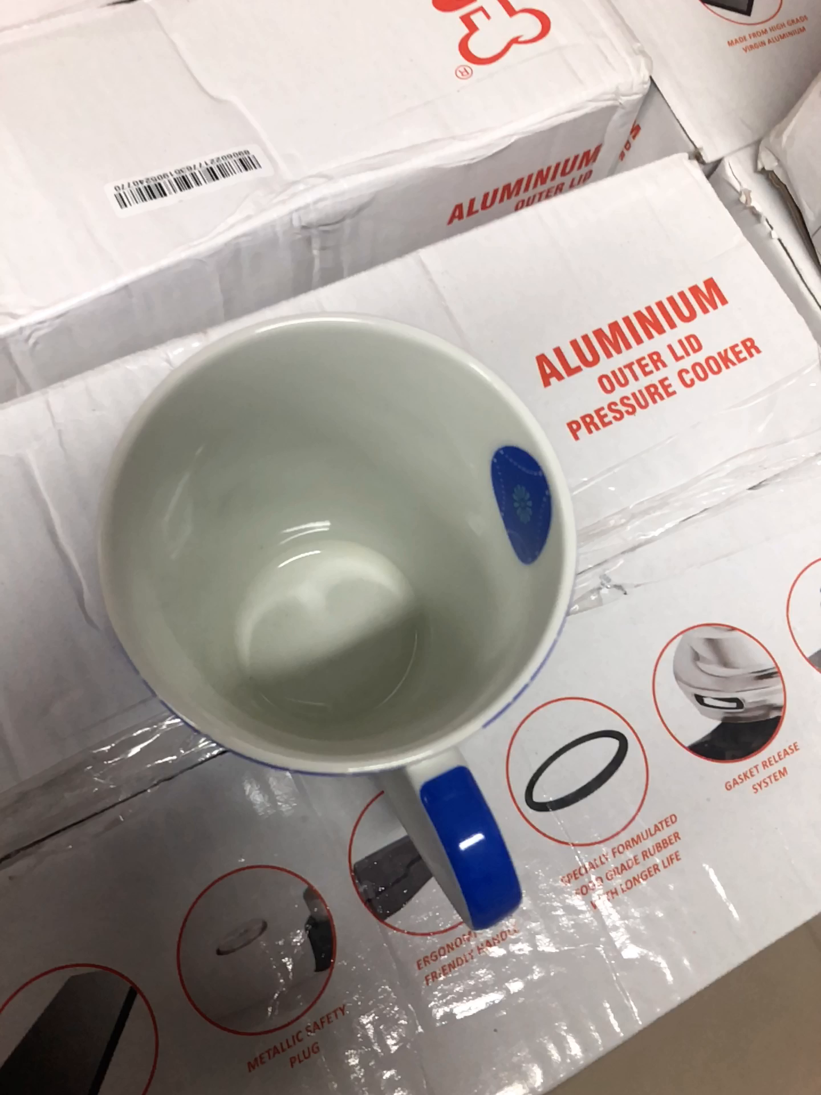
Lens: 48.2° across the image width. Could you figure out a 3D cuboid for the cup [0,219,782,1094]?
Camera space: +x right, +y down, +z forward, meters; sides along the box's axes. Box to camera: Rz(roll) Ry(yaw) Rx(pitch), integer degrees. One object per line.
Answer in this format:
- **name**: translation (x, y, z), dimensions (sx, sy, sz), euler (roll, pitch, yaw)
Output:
- **cup**: translation (-0.013, 0.024, 0.182), dimensions (0.080, 0.090, 0.120), euler (-26, 82, -14)
